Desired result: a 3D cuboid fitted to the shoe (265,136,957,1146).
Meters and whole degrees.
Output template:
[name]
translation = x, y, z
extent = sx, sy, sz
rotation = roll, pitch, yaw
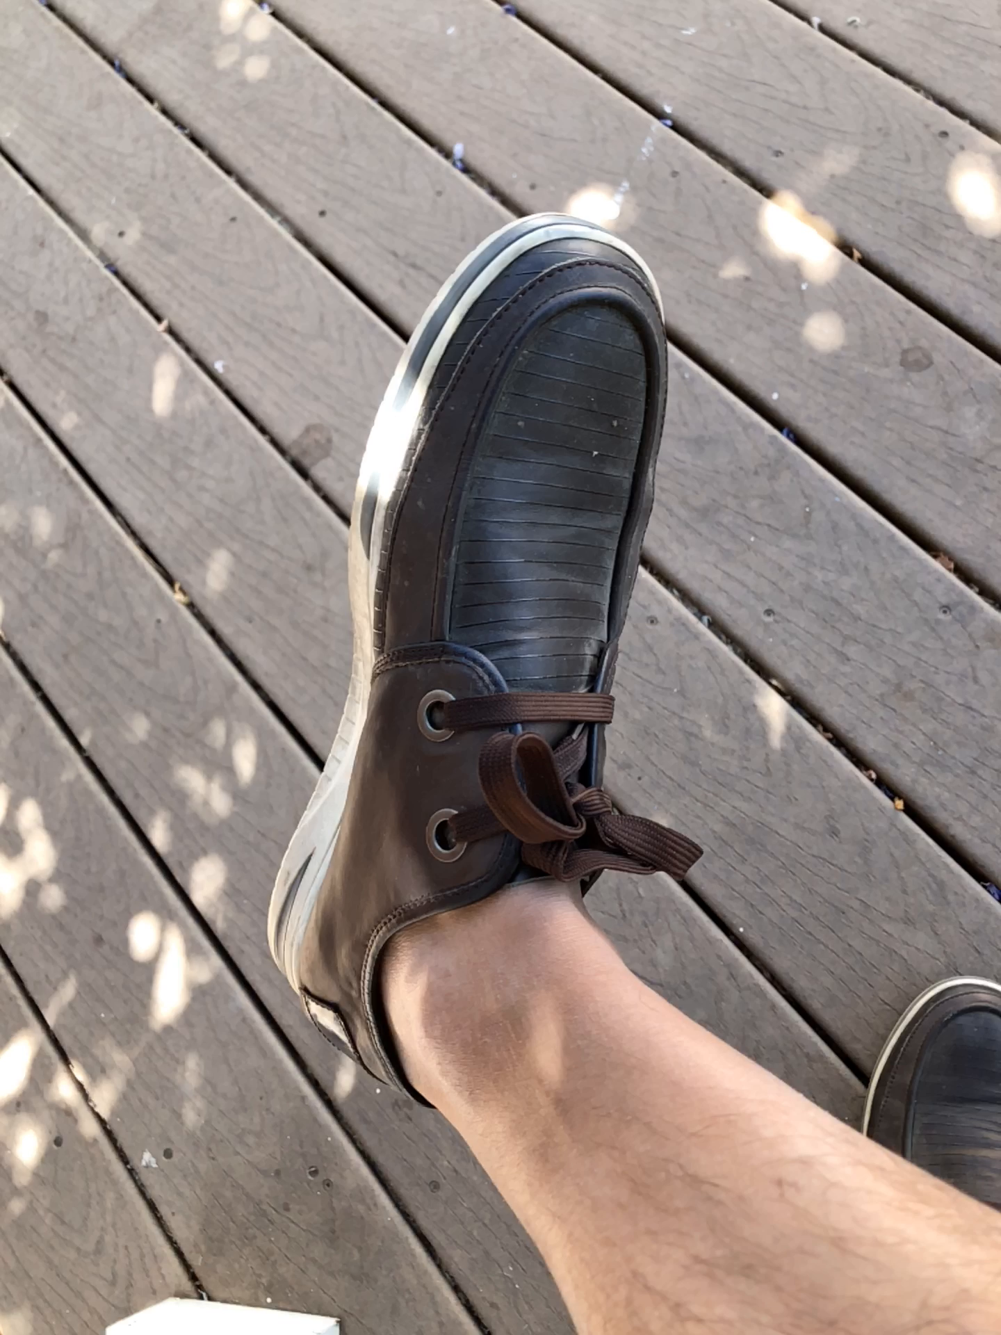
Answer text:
[shoe]
translation = 0.014, 0.003, 0.341
extent = 0.092, 0.102, 0.275
rotation = 45, 128, 43
